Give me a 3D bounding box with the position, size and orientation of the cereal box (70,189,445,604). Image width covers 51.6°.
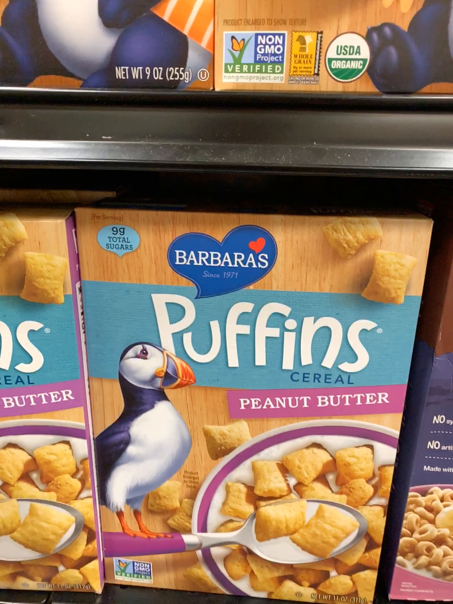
[{"bbox_3d":[0.013,0.061,0.317,0.200,0.259,0.070,3,15,4],"label":"cereal box"}]
